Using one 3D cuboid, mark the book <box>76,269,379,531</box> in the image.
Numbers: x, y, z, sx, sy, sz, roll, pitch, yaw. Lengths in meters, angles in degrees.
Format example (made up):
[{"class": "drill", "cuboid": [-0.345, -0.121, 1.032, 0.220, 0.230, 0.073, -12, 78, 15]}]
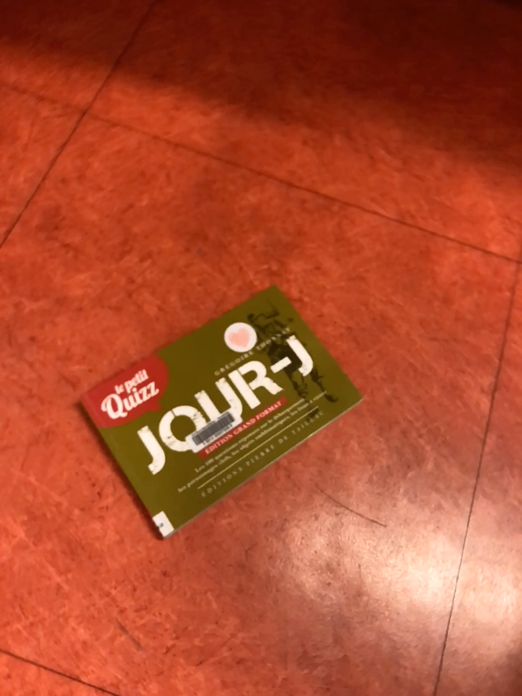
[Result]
[{"class": "book", "cuboid": [-0.025, 0.034, 0.501, 0.218, 0.016, 0.136, -31, 73, -19]}]
